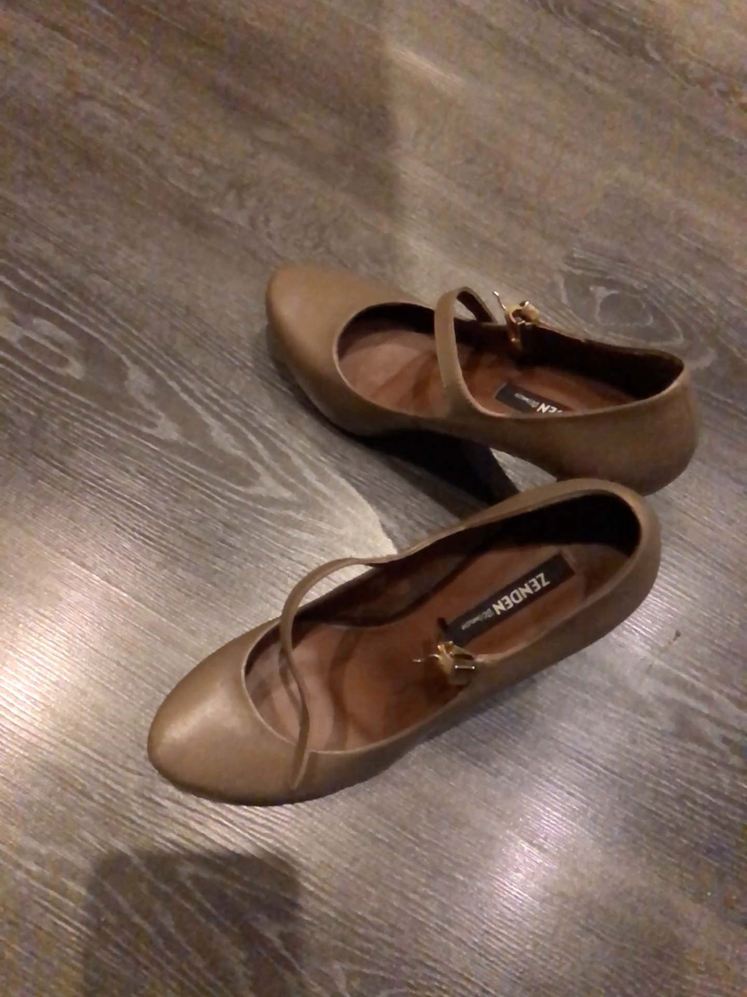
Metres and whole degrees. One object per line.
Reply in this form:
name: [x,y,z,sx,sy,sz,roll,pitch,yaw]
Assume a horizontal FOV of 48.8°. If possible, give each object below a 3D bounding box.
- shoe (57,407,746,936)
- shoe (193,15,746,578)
shoe: [0.013,0.065,0.322,0.210,0.150,0.090,-19,75,-12]
shoe: [0.039,-0.075,0.372,0.210,0.150,0.090,33,72,5]
